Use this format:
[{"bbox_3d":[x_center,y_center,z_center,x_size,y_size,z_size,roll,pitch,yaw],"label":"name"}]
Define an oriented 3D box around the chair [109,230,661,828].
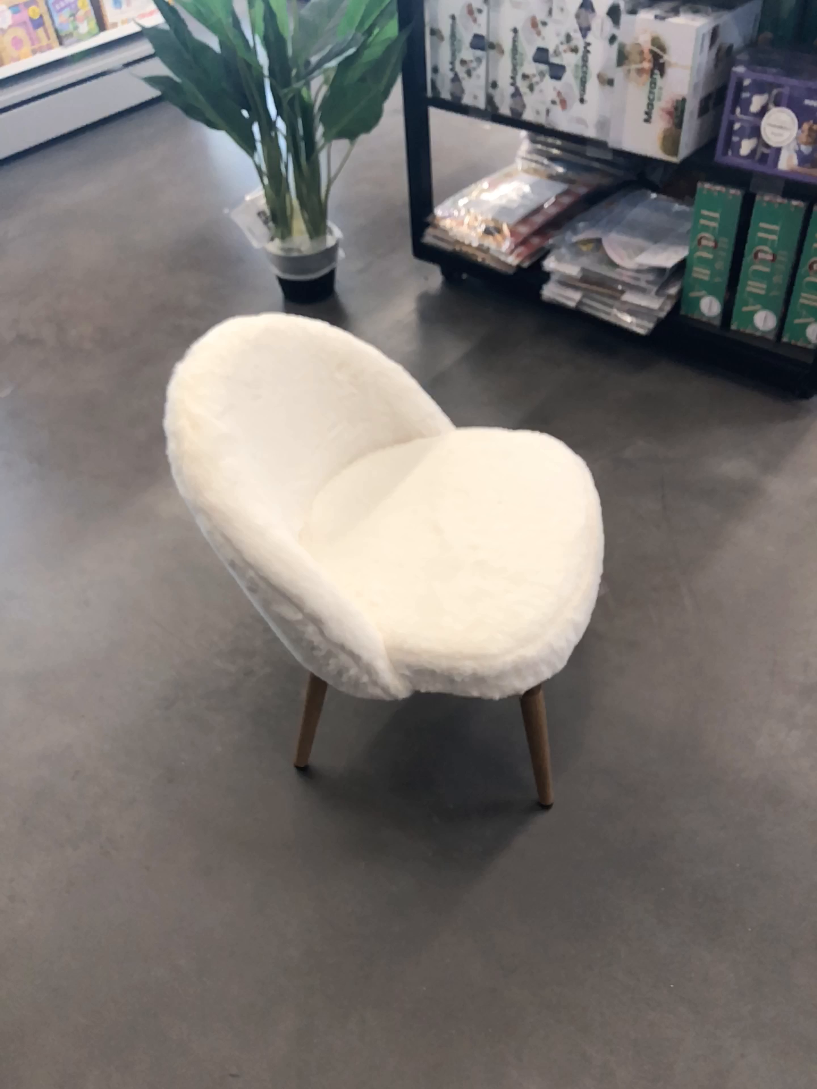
[{"bbox_3d":[0.017,-0.028,1.112,0.470,0.537,0.412,9,43,15],"label":"chair"}]
